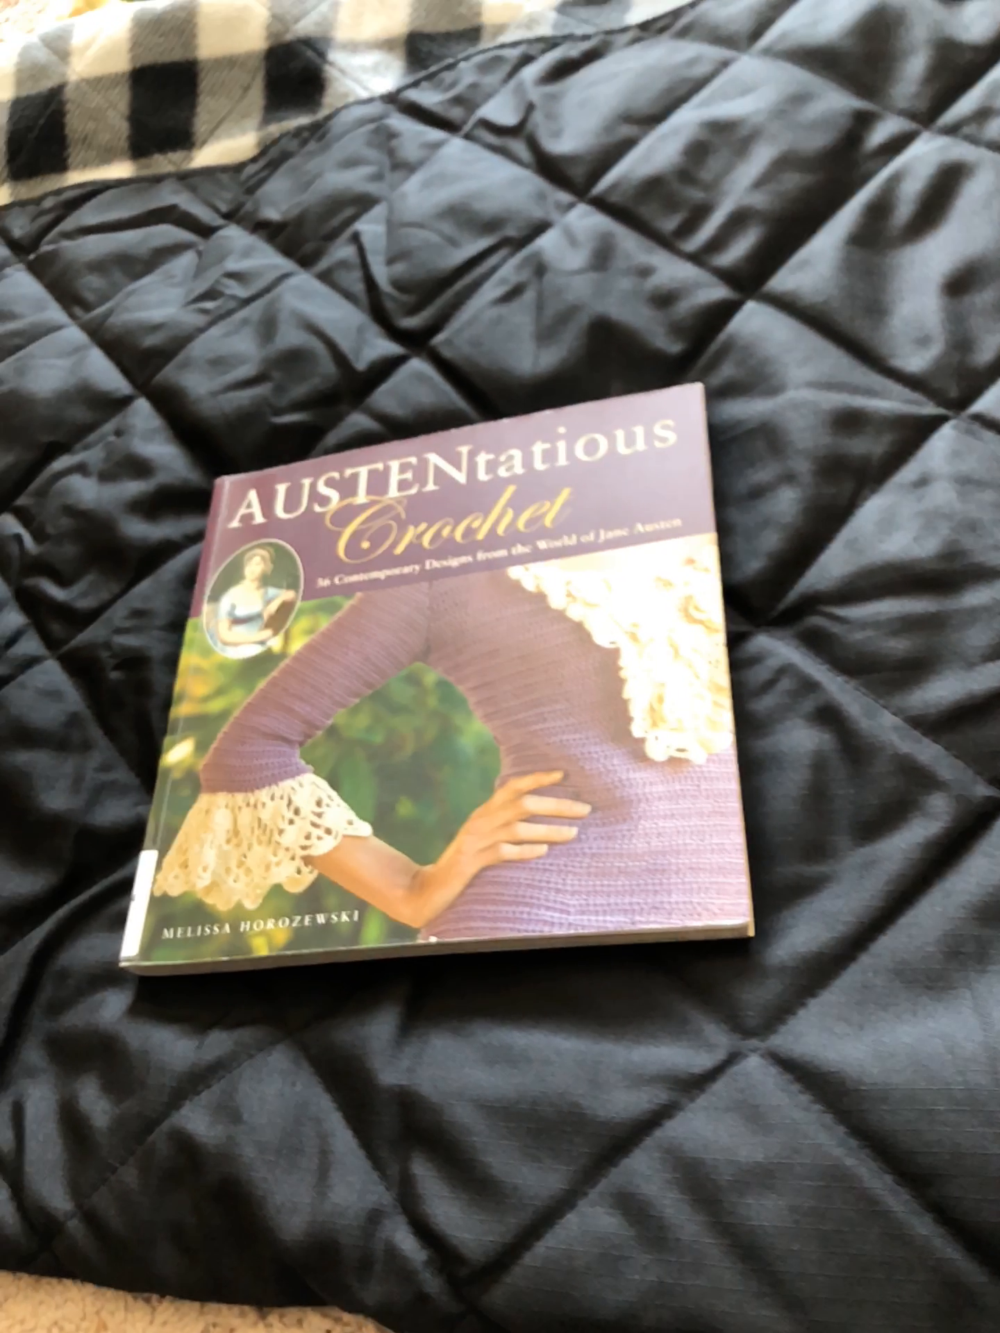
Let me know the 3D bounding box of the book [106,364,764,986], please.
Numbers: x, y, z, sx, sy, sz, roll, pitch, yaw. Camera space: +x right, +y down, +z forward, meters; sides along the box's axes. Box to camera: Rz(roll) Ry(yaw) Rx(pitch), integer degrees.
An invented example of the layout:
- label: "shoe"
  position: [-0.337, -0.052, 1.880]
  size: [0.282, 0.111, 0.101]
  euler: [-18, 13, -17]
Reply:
- label: "book"
  position: [-0.024, -0.003, 0.421]
  size: [0.220, 0.020, 0.230]
  euler: [-8, 56, 17]
